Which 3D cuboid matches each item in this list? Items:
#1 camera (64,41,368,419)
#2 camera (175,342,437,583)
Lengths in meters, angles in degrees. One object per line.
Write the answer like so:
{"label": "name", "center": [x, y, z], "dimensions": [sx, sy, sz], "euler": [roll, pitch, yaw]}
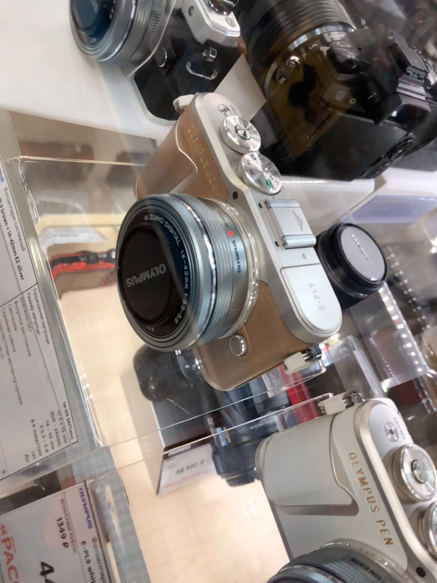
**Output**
{"label": "camera", "center": [-0.007, -0.024, 0.195], "dimensions": [0.060, 0.060, 0.122], "euler": [-7, 68, -40]}
{"label": "camera", "center": [0.045, 0.088, 0.157], "dimensions": [0.060, 0.060, 0.122], "euler": [-7, 68, -40]}
